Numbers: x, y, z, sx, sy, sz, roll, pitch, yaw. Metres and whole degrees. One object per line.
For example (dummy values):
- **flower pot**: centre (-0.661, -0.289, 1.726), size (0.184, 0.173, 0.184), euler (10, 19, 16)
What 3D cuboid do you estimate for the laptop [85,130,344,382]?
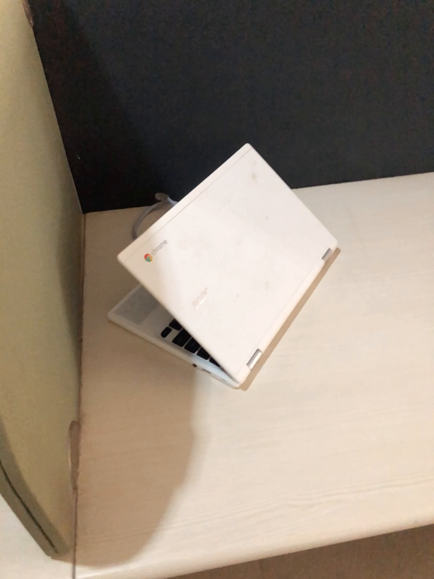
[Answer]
- **laptop**: centre (0.012, -0.063, 0.609), size (0.187, 0.114, 0.286), euler (24, 51, 21)
